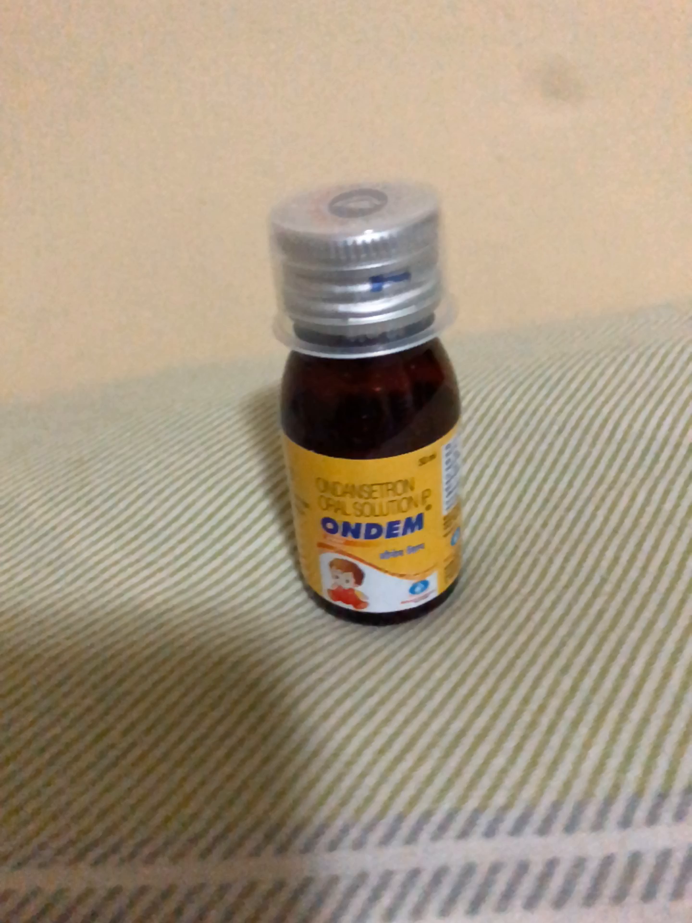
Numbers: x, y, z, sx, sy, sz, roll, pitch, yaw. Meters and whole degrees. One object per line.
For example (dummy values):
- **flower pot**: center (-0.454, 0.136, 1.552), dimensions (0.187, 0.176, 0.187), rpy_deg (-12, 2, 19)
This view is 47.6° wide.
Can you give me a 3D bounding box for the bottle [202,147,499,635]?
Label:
- **bottle**: center (0.007, -0.011, 0.142), dimensions (0.037, 0.076, 0.038), rpy_deg (-6, 33, 4)
